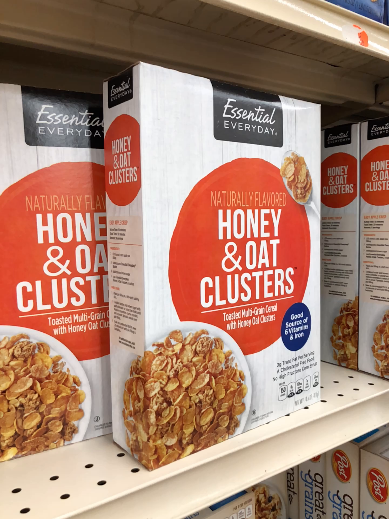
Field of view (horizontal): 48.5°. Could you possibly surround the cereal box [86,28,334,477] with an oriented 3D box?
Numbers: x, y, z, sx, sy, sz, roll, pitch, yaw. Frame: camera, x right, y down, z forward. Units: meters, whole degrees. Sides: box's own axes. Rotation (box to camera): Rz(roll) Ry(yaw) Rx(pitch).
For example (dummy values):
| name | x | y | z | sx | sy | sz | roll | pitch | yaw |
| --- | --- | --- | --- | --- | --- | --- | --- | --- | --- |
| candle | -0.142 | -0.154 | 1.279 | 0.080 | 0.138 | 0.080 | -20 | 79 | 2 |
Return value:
| name | x | y | z | sx | sy | sz | roll | pitch | yaw |
| --- | --- | --- | --- | --- | --- | --- | --- | --- | --- |
| cereal box | 0.024 | -0.008 | 0.377 | 0.210 | 0.300 | 0.070 | -4 | 6 | -36 |
